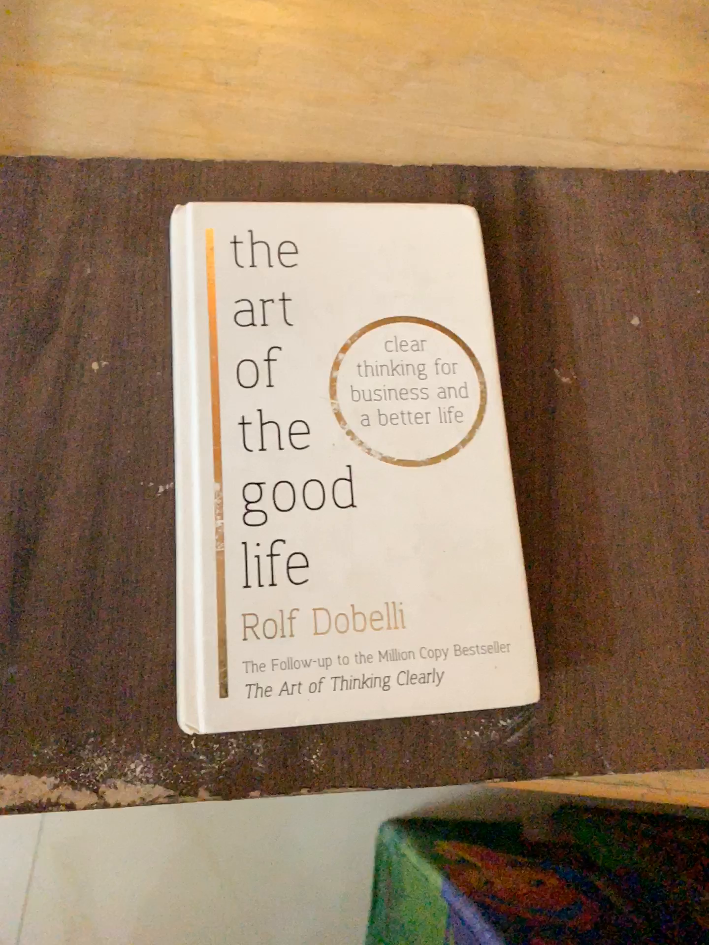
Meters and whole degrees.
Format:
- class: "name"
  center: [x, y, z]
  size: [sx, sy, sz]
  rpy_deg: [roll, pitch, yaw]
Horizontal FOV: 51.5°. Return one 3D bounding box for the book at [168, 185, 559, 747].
- class: "book"
  center: [-0.002, -0.007, 0.255]
  size: [0.117, 0.037, 0.180]
  rpy_deg: [-2, 79, -7]
